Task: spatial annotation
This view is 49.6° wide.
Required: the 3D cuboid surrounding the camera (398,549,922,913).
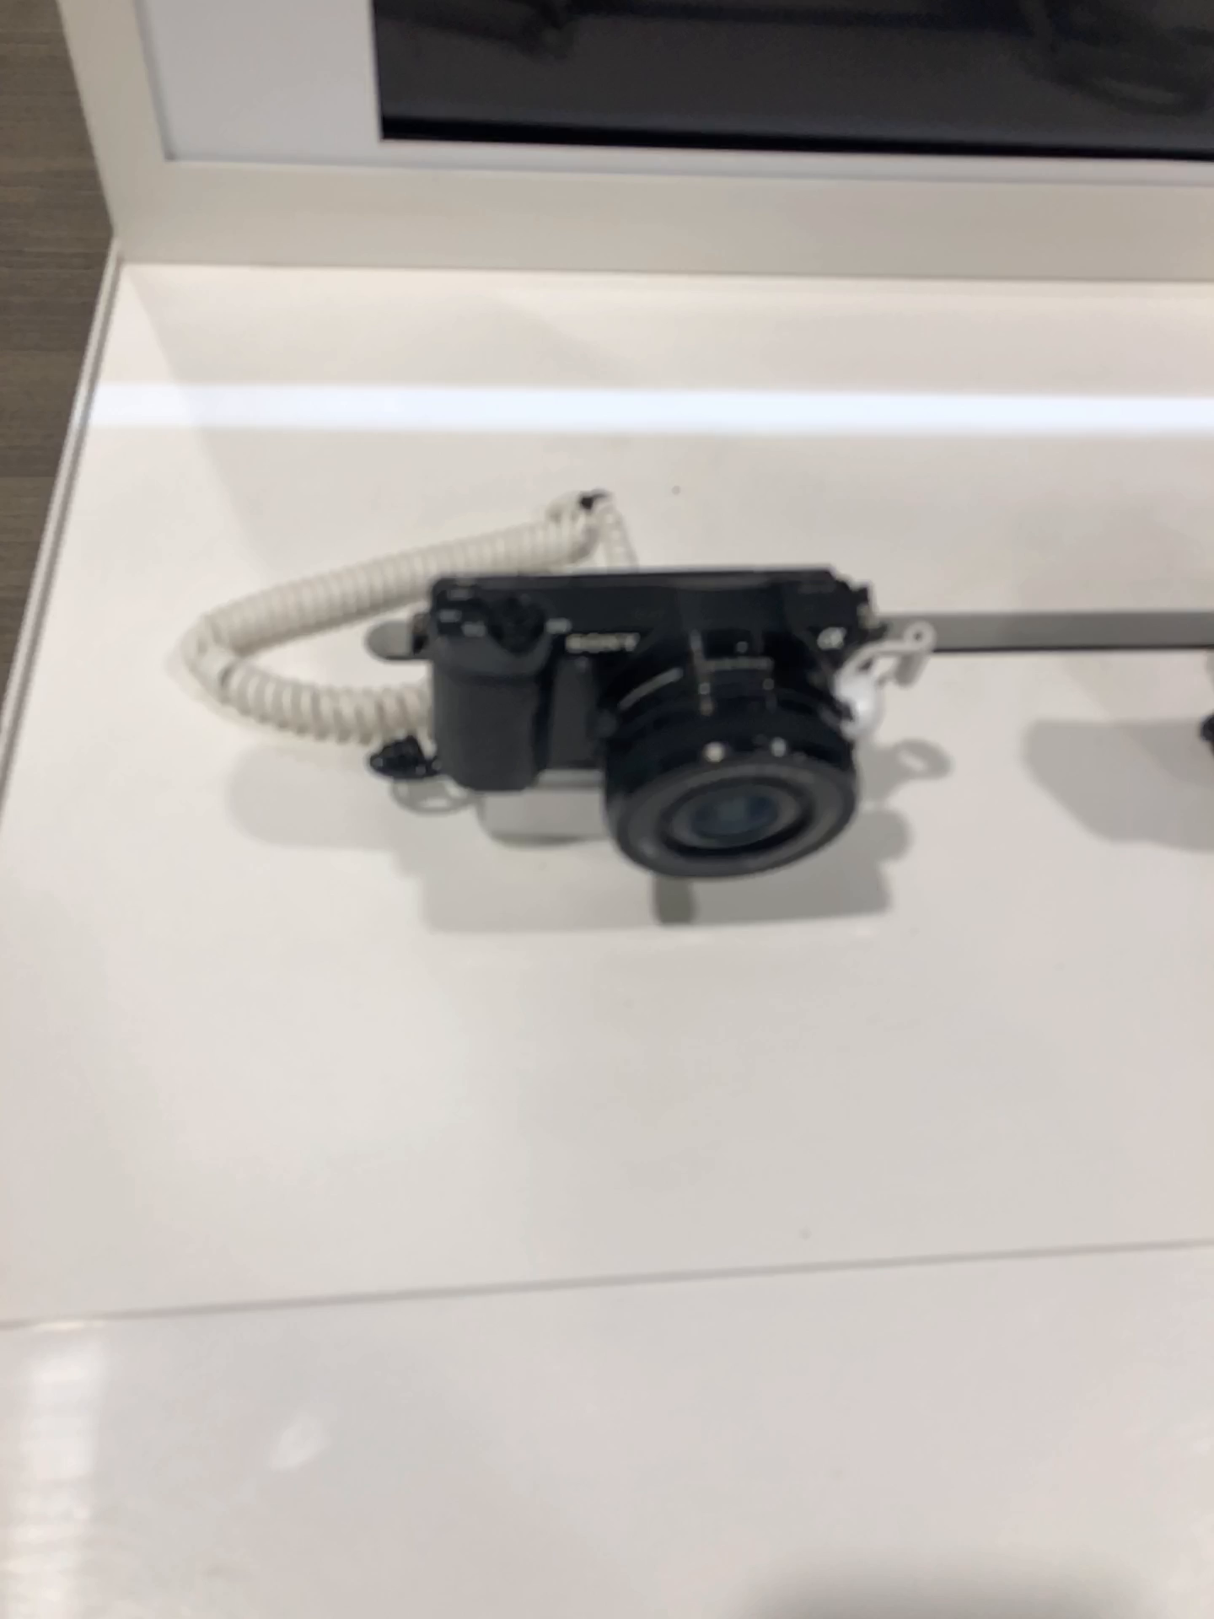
[{"bbox_3d":[0.008,-0.019,0.323,0.113,0.060,0.062,-2,55,-5],"label":"camera"}]
